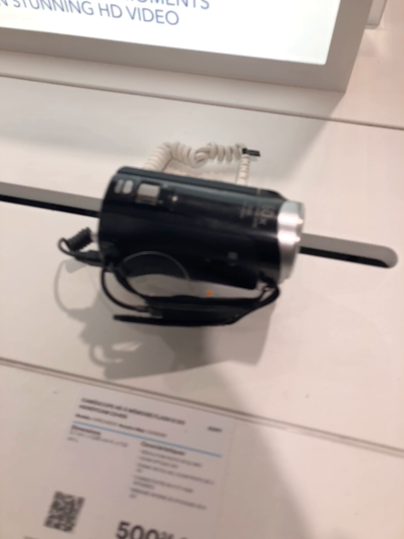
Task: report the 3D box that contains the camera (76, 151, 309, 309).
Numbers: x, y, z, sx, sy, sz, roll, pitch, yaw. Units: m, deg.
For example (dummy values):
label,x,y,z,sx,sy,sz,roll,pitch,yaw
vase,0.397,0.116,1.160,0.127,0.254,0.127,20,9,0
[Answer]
label,x,y,z,sx,sy,sz,roll,pitch,yaw
camera,-0.003,-0.024,0.271,0.121,0.058,0.057,9,60,7
